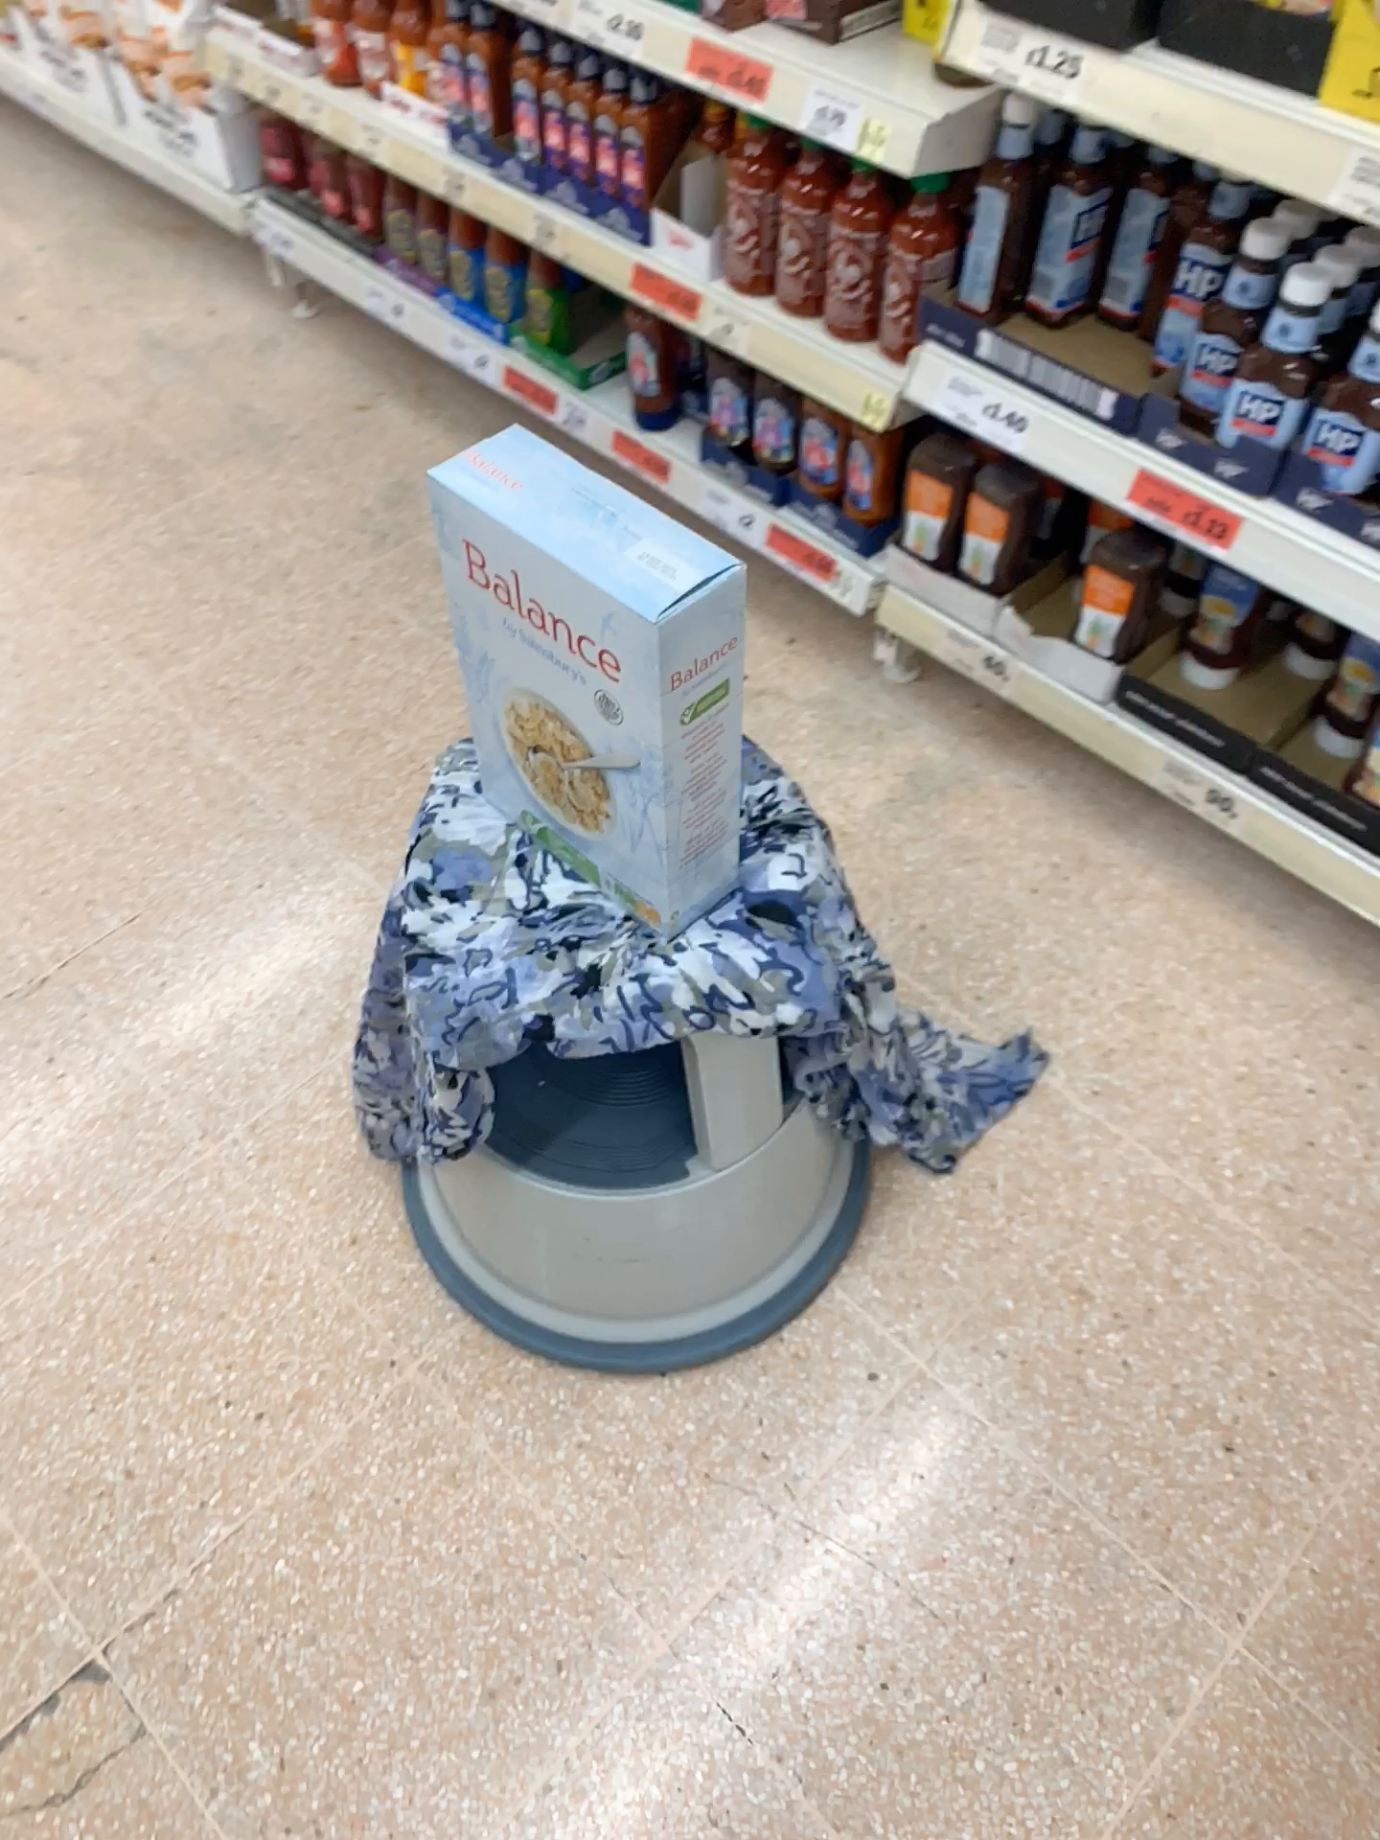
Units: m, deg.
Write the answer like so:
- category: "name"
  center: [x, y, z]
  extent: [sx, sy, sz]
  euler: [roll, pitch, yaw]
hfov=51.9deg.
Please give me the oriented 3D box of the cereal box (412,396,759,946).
- category: "cereal box"
  center: [-0.062, -0.148, 0.892]
  extent: [0.070, 0.278, 0.211]
  euler: [-37, 60, -26]
